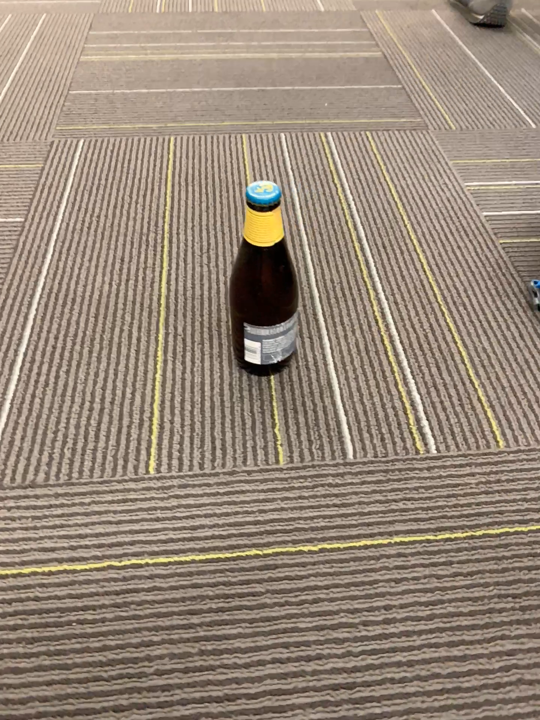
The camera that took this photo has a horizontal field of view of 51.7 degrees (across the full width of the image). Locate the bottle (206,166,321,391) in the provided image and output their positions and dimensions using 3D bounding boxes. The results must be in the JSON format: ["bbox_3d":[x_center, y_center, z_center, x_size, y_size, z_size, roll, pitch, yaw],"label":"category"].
[{"bbox_3d":[-0.007,-0.062,0.479,0.060,0.179,0.060,1,48,-1],"label":"bottle"}]
